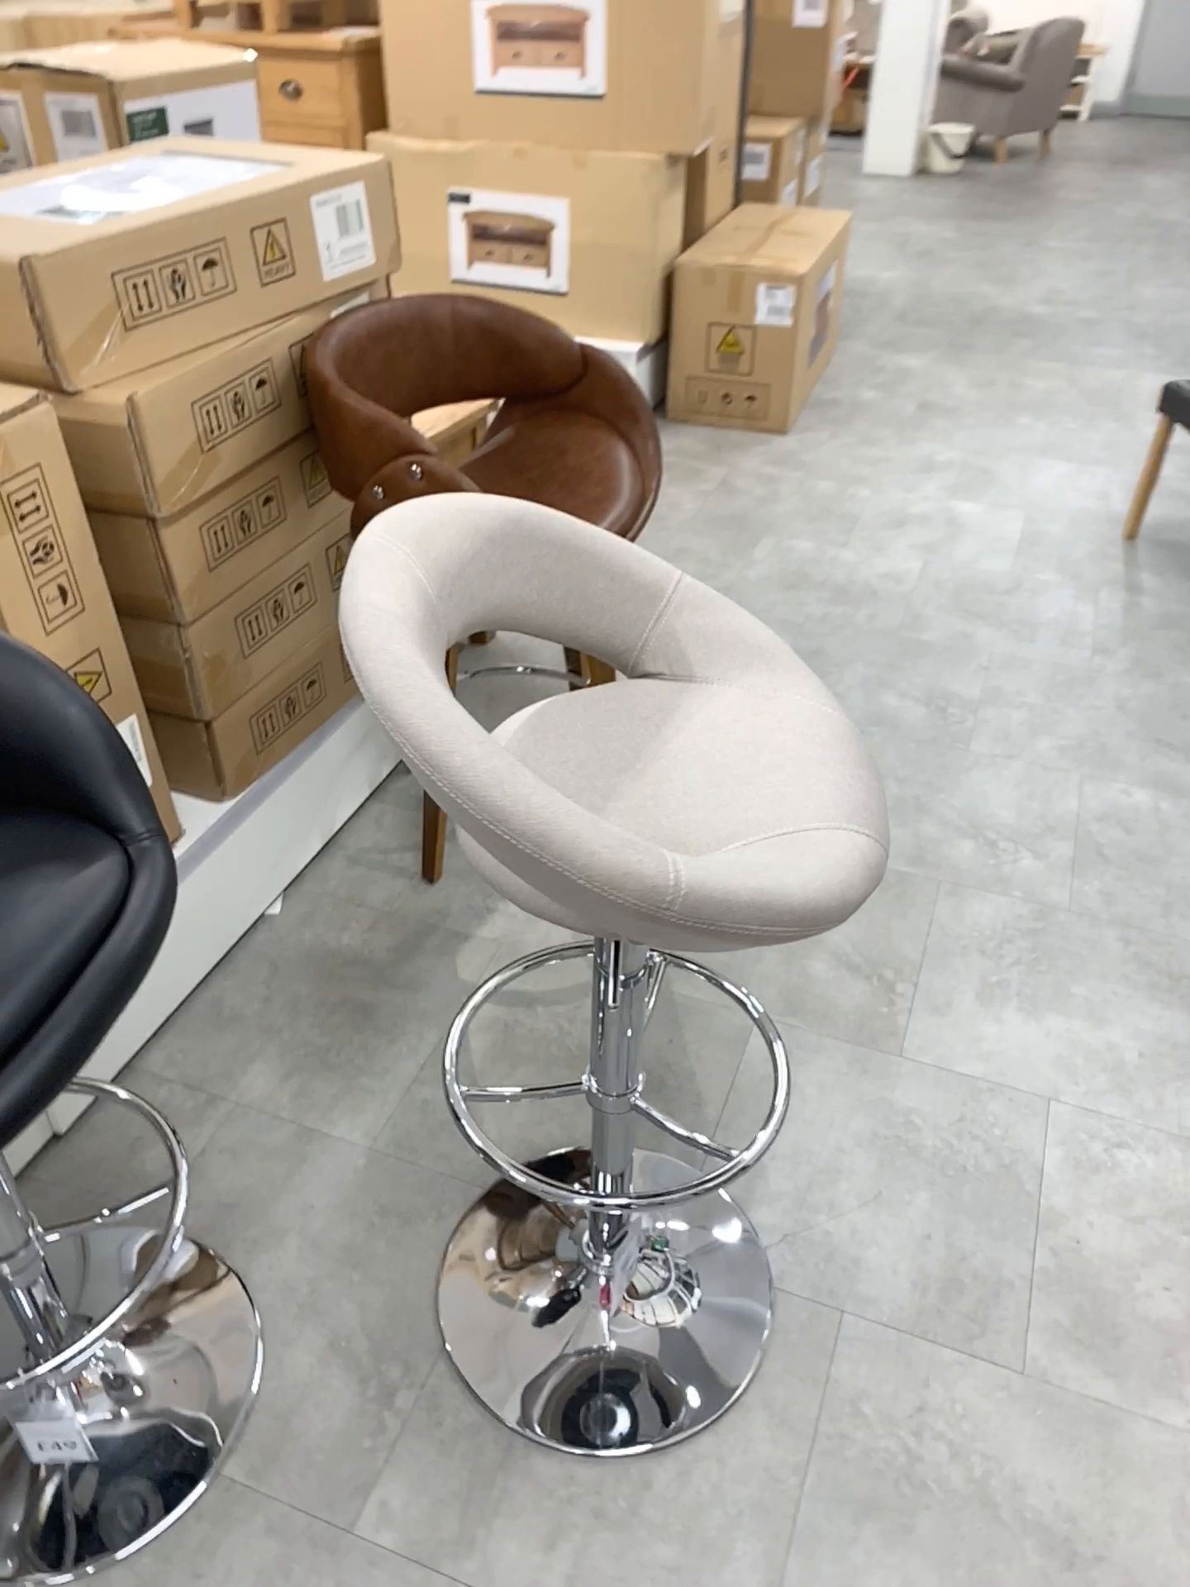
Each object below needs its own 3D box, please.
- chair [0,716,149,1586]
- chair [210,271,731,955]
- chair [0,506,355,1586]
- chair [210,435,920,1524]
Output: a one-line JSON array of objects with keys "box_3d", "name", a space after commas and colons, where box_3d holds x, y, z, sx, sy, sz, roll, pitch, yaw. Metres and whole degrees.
[{"box_3d": [-0.744, 0.576, 0.730, 0.485, 1.008, 0.537, 24, 42, 28], "name": "chair"}, {"box_3d": [-0.184, -0.325, 2.106, 0.576, 0.909, 0.537, 24, 42, 28], "name": "chair"}, {"box_3d": [-0.599, 0.291, 1.165, 0.484, 0.939, 0.498, 8, 36, 10], "name": "chair"}, {"box_3d": [0.015, 0.215, 1.258, 0.464, 0.978, 0.488, 8, 36, 10], "name": "chair"}]
